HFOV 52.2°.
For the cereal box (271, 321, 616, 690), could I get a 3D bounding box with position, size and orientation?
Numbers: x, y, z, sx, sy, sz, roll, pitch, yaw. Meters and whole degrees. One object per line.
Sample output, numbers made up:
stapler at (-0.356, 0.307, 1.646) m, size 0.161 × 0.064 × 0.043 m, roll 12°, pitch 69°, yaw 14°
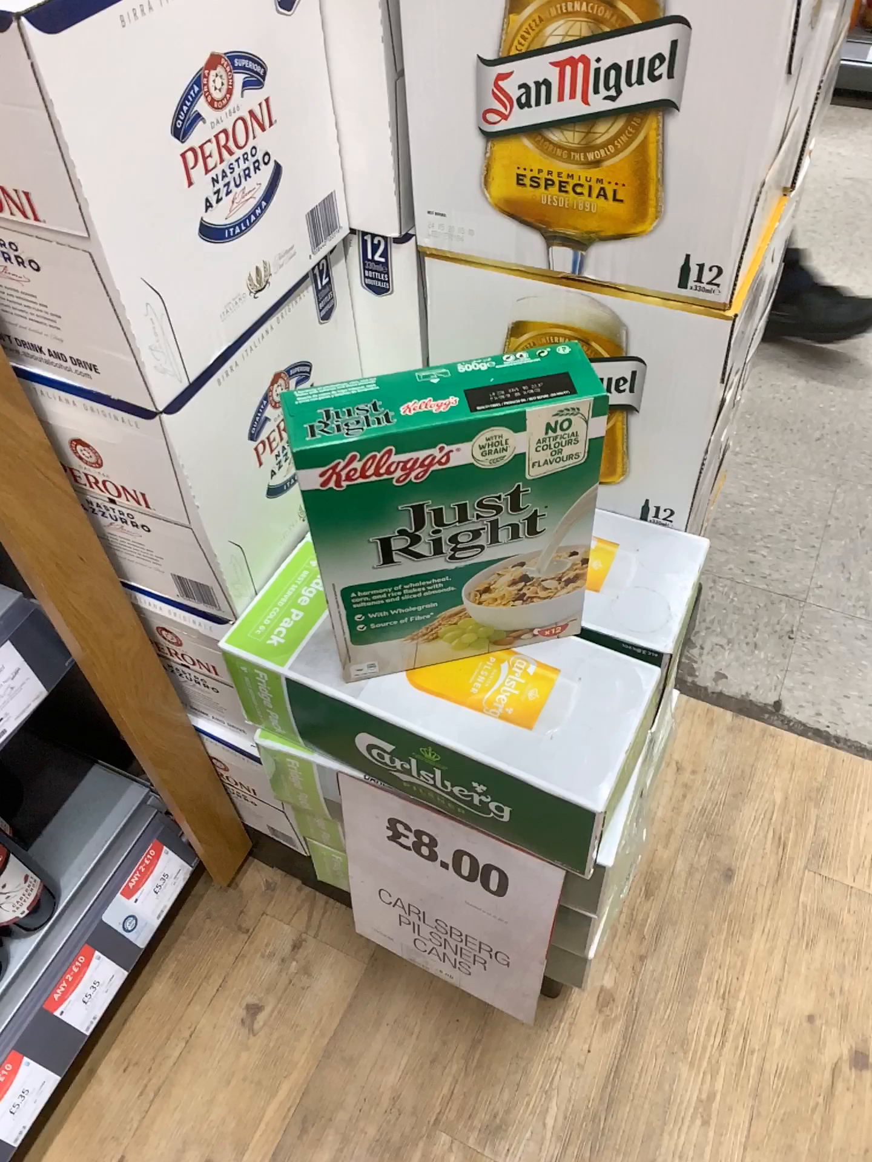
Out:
cereal box at (0.008, -0.039, 0.607) m, size 0.190 × 0.238 × 0.071 m, roll -11°, pitch 50°, yaw -5°
